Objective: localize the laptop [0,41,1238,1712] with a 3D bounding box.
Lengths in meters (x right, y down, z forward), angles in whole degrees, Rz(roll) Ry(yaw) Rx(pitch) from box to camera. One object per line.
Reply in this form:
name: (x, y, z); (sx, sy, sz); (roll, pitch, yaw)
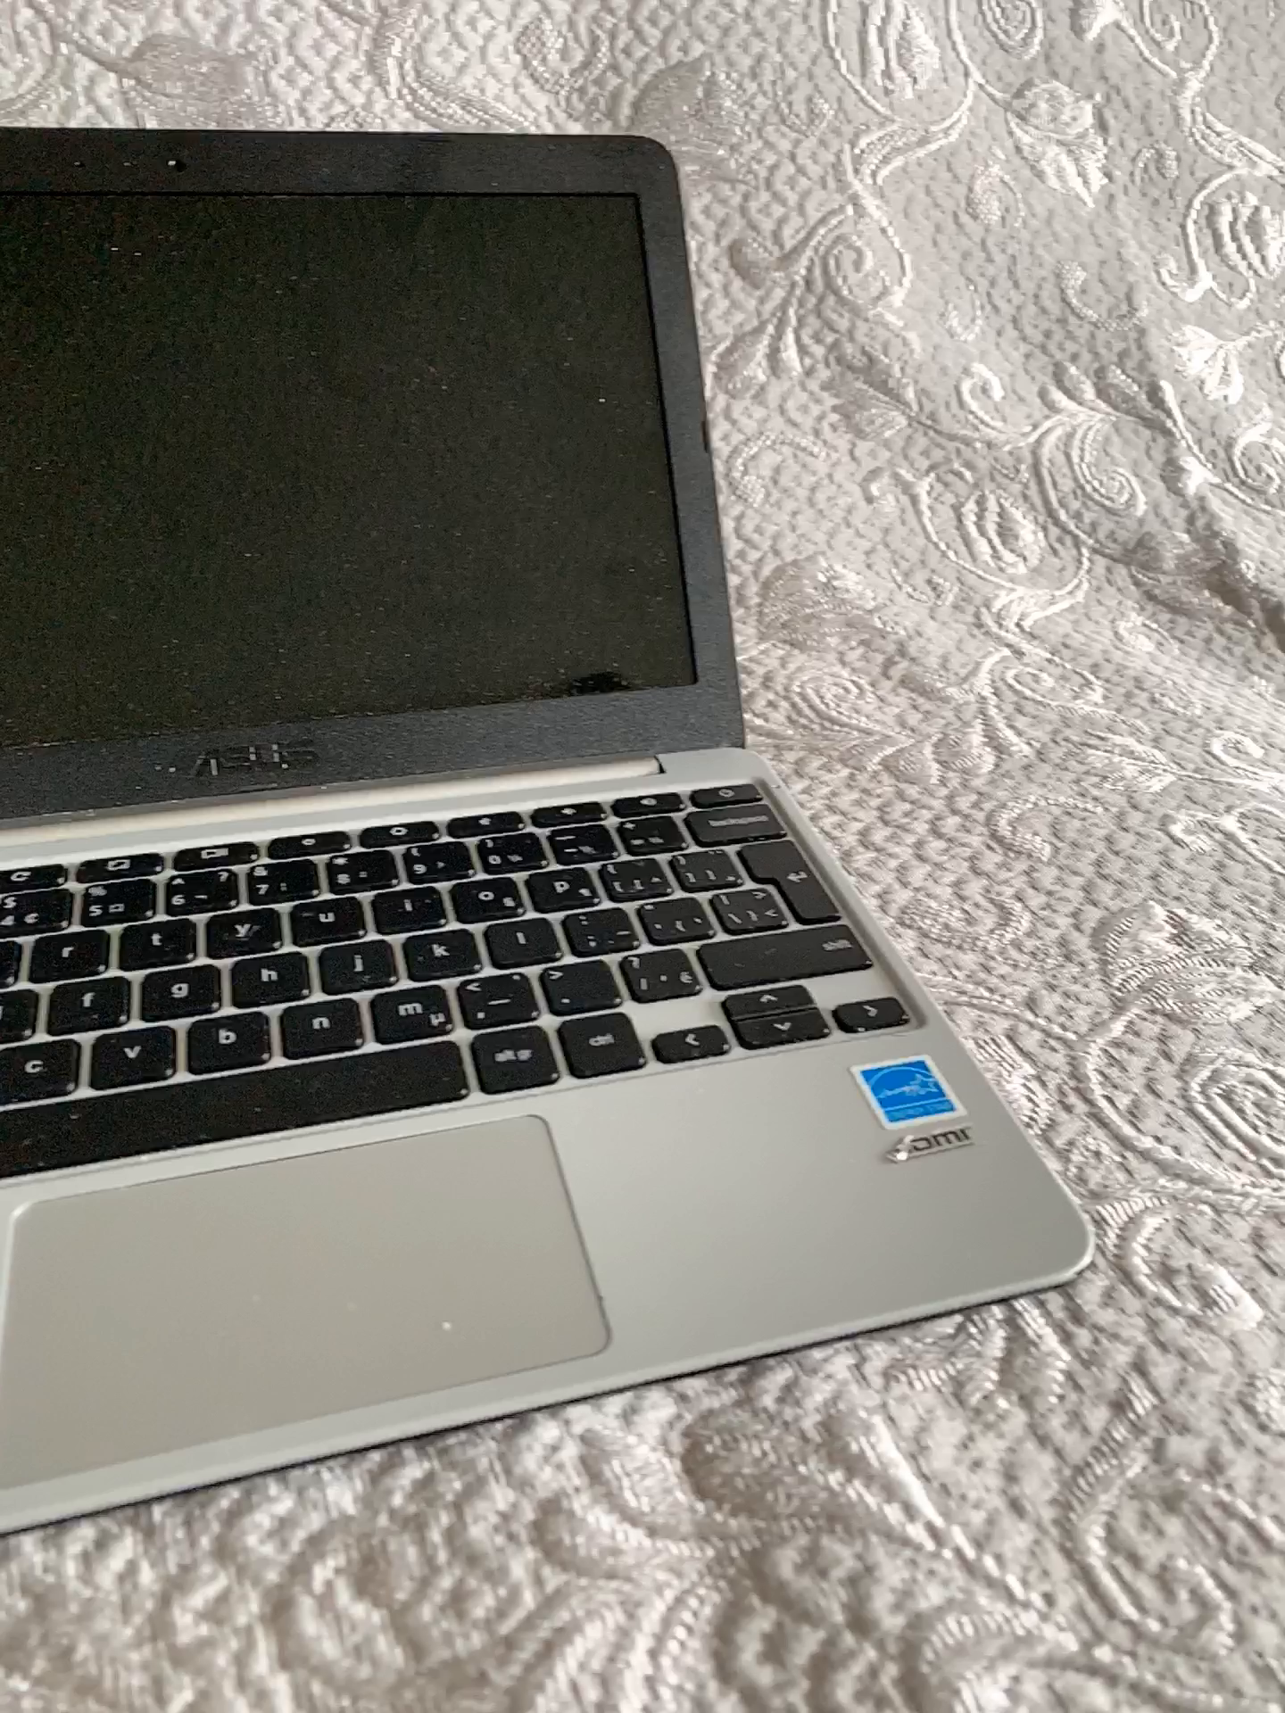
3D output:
laptop: (-0.091, -0.050, 0.283); (0.288, 0.127, 0.288); (-7, 42, -22)
